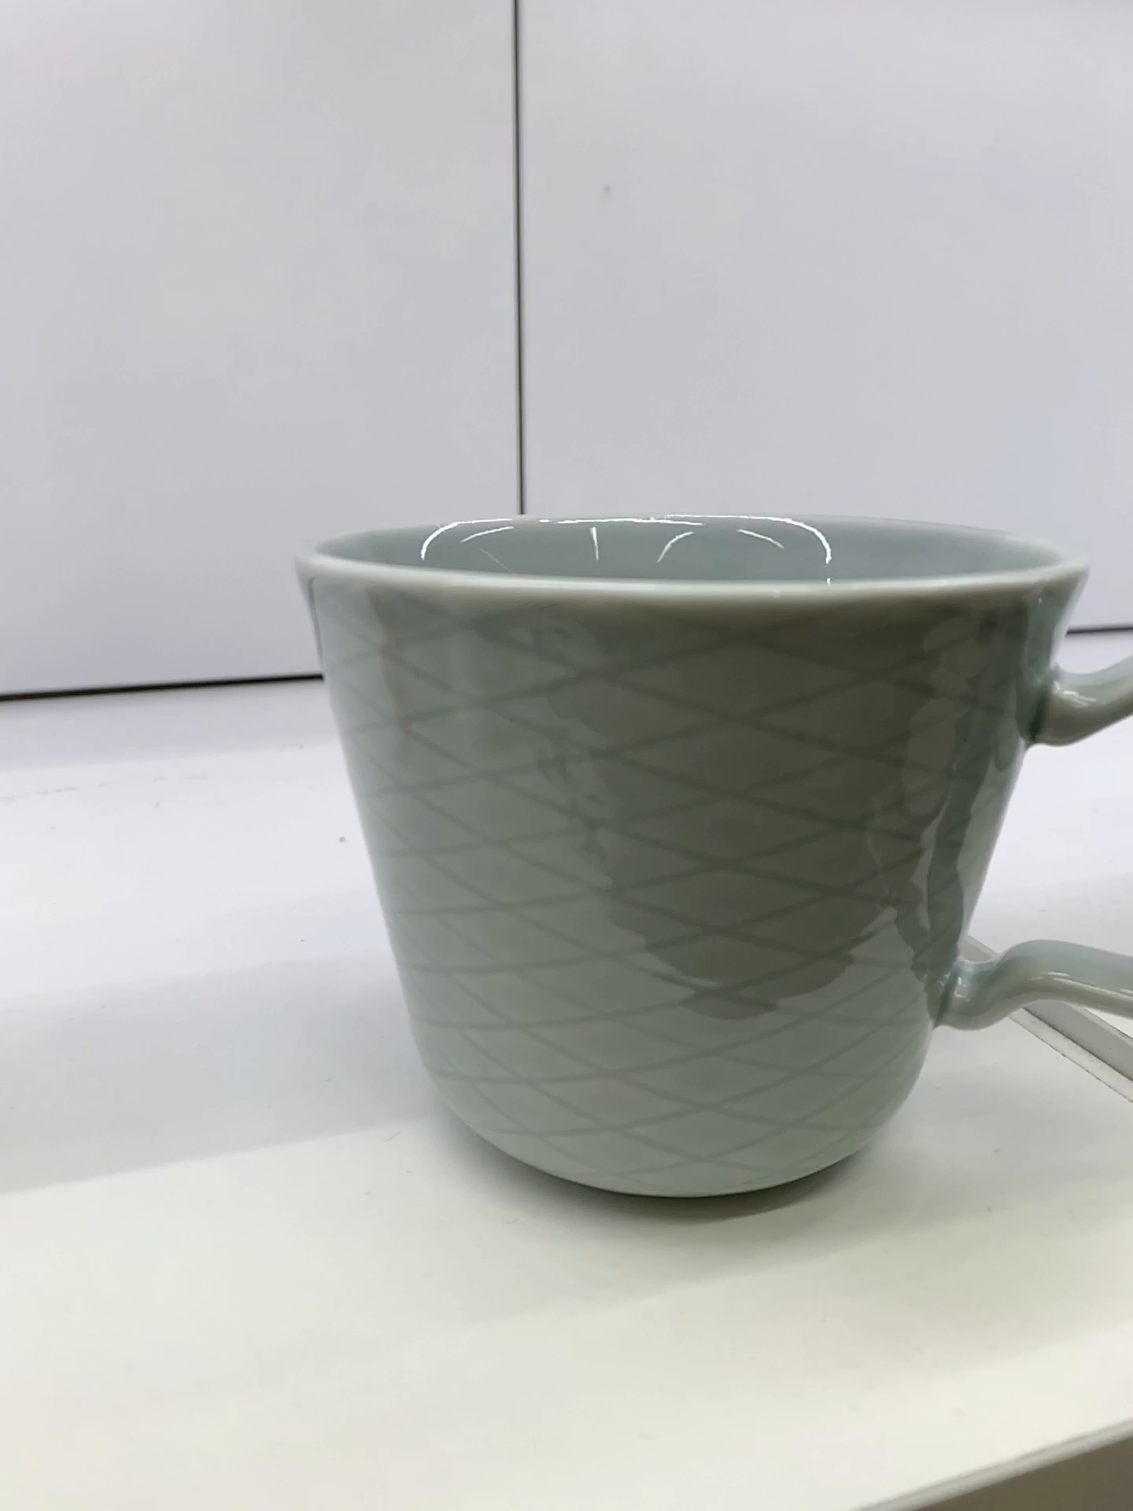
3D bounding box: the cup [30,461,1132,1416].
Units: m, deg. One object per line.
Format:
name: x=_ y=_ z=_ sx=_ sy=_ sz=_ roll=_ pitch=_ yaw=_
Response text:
cup: x=0.018 y=0.006 z=0.173 sx=0.124 sy=0.089 sz=0.109 roll=2 pitch=16 yaw=16
